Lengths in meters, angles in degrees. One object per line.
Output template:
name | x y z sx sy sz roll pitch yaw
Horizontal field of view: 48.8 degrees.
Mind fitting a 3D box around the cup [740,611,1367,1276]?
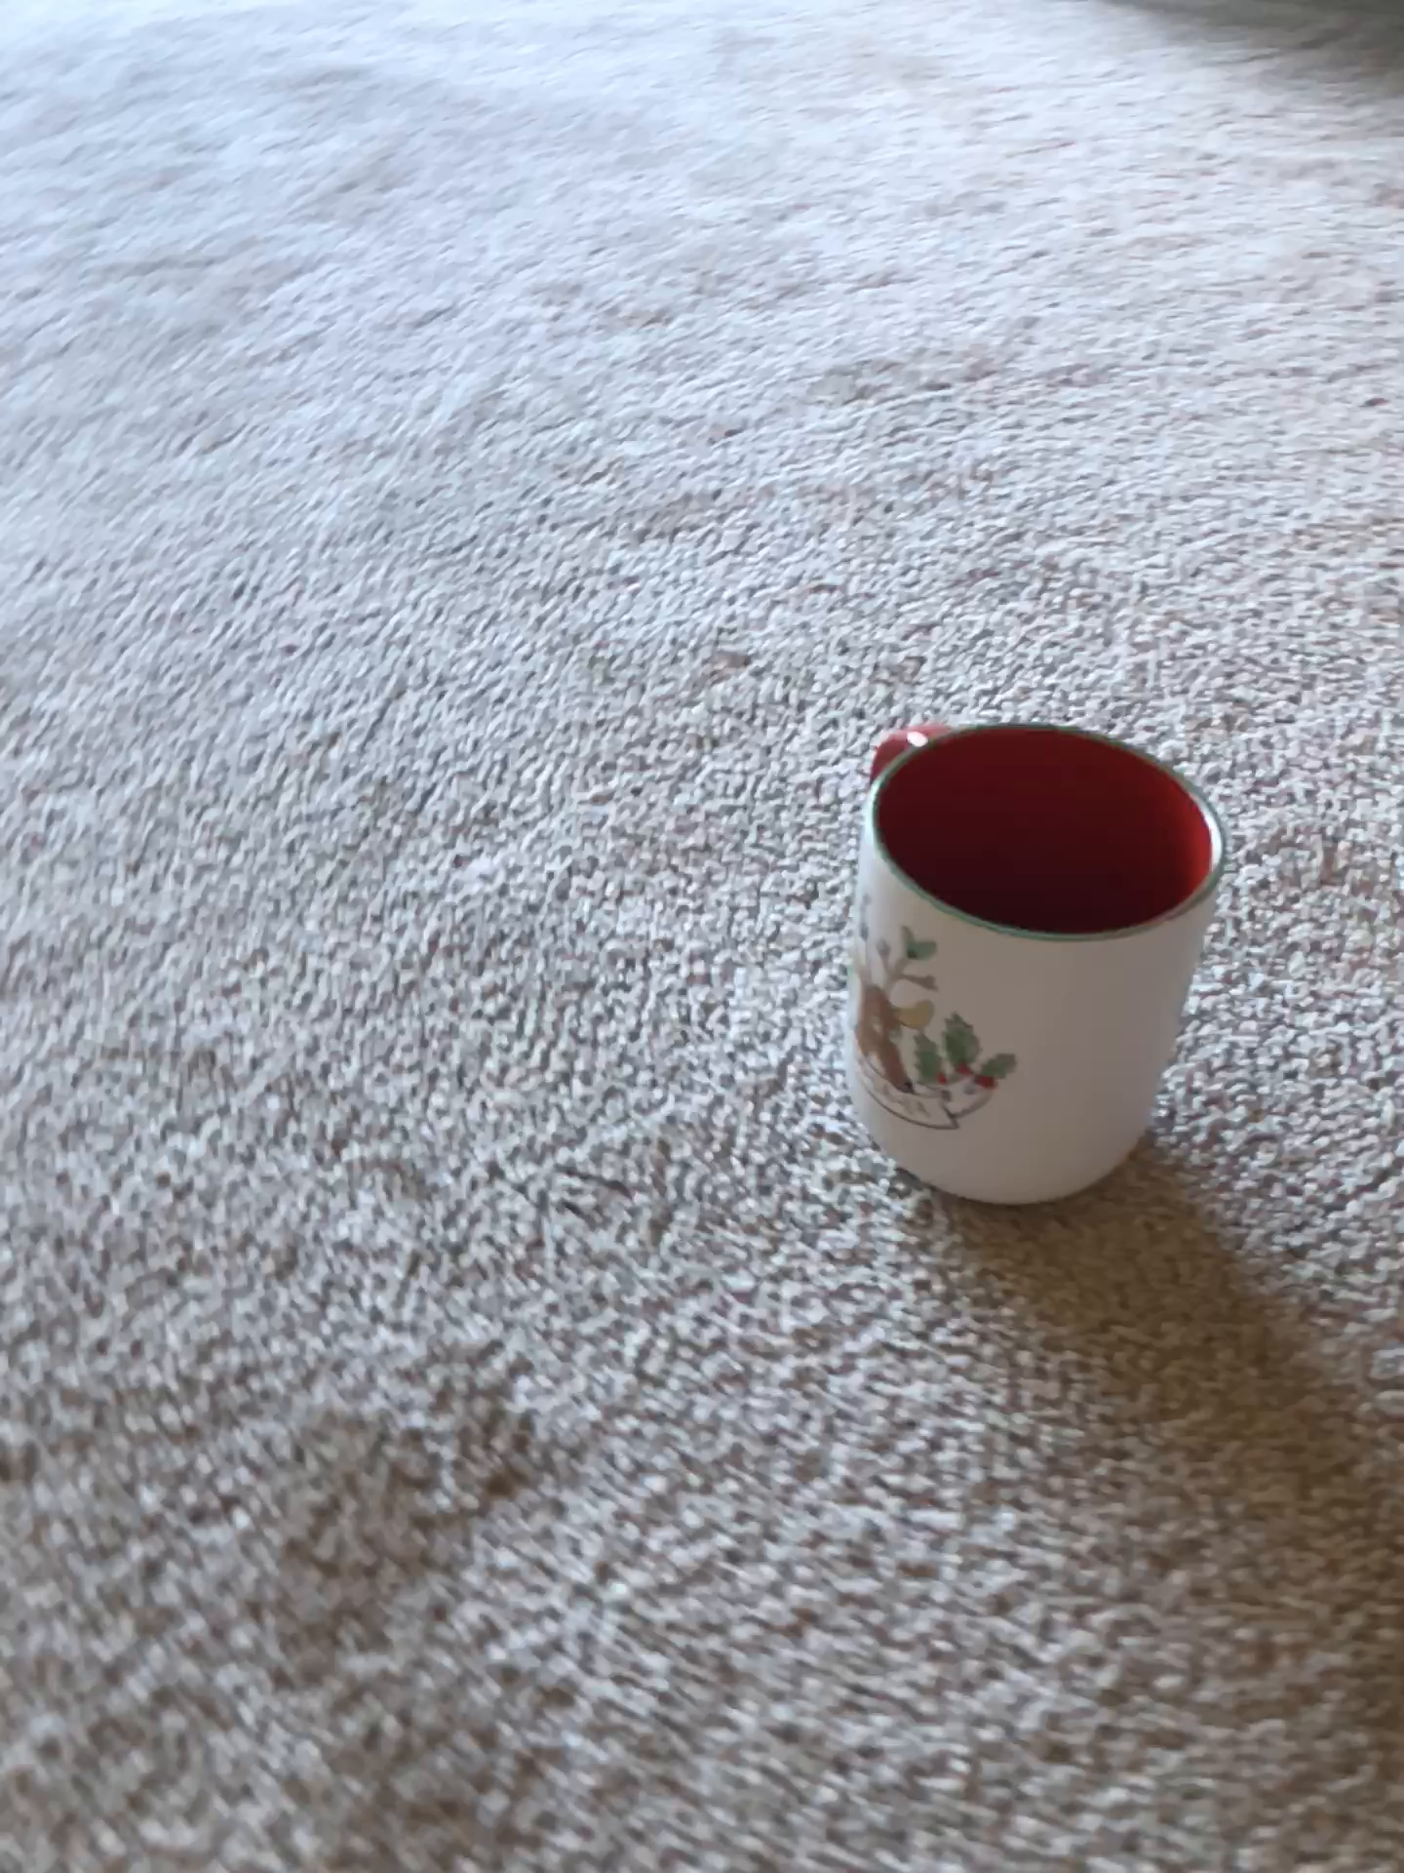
cup | 0.081 -0.004 0.417 0.100 0.090 0.141 -13 45 -13
